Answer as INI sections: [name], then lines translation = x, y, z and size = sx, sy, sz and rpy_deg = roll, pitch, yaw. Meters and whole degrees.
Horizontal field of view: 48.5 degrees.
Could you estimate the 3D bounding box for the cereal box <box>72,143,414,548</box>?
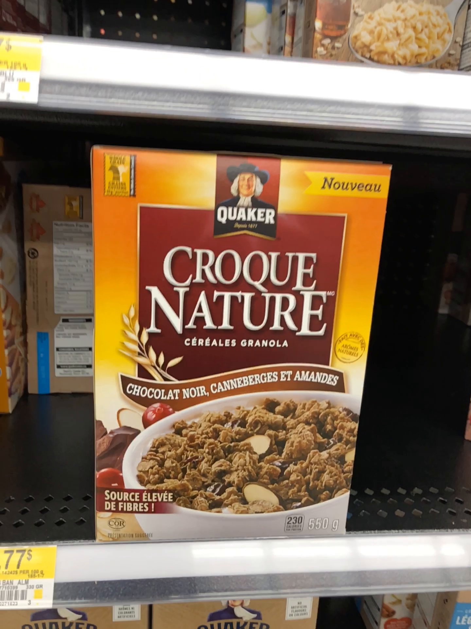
[cereal box]
translation = -0.002, 0.023, 0.313
size = 0.170, 0.229, 0.050
rpy_deg = 1, 16, -7
